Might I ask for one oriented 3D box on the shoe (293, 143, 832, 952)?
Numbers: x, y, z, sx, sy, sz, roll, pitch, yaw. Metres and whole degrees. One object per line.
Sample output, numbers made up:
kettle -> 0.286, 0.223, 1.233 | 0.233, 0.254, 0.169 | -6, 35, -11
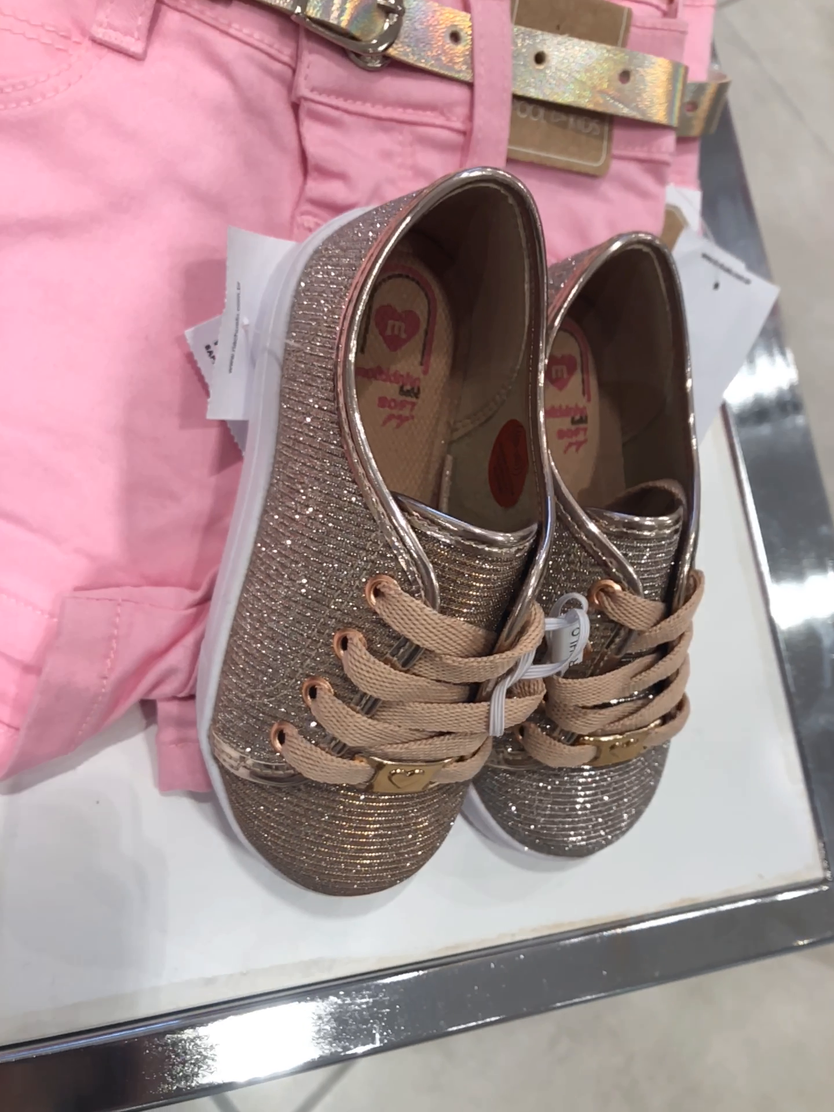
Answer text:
shoe -> 0.032, -0.006, 0.246 | 0.080, 0.080, 0.170 | -10, 89, -23

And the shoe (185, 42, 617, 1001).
shoe -> -0.011, -0.006, 0.215 | 0.070, 0.080, 0.170 | 1, 95, -20
